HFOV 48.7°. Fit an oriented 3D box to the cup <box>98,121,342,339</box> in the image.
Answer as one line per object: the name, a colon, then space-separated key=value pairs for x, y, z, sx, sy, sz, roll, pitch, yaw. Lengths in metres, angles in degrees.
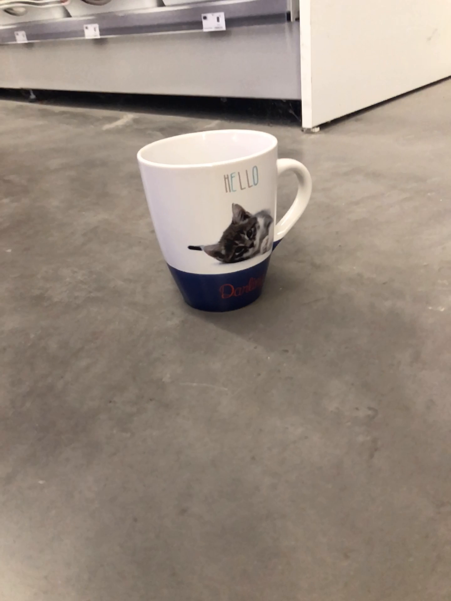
cup: x=-0.005 y=-0.060 z=0.356 sx=0.127 sy=0.098 sz=0.112 roll=-19 pitch=32 yaw=-21
